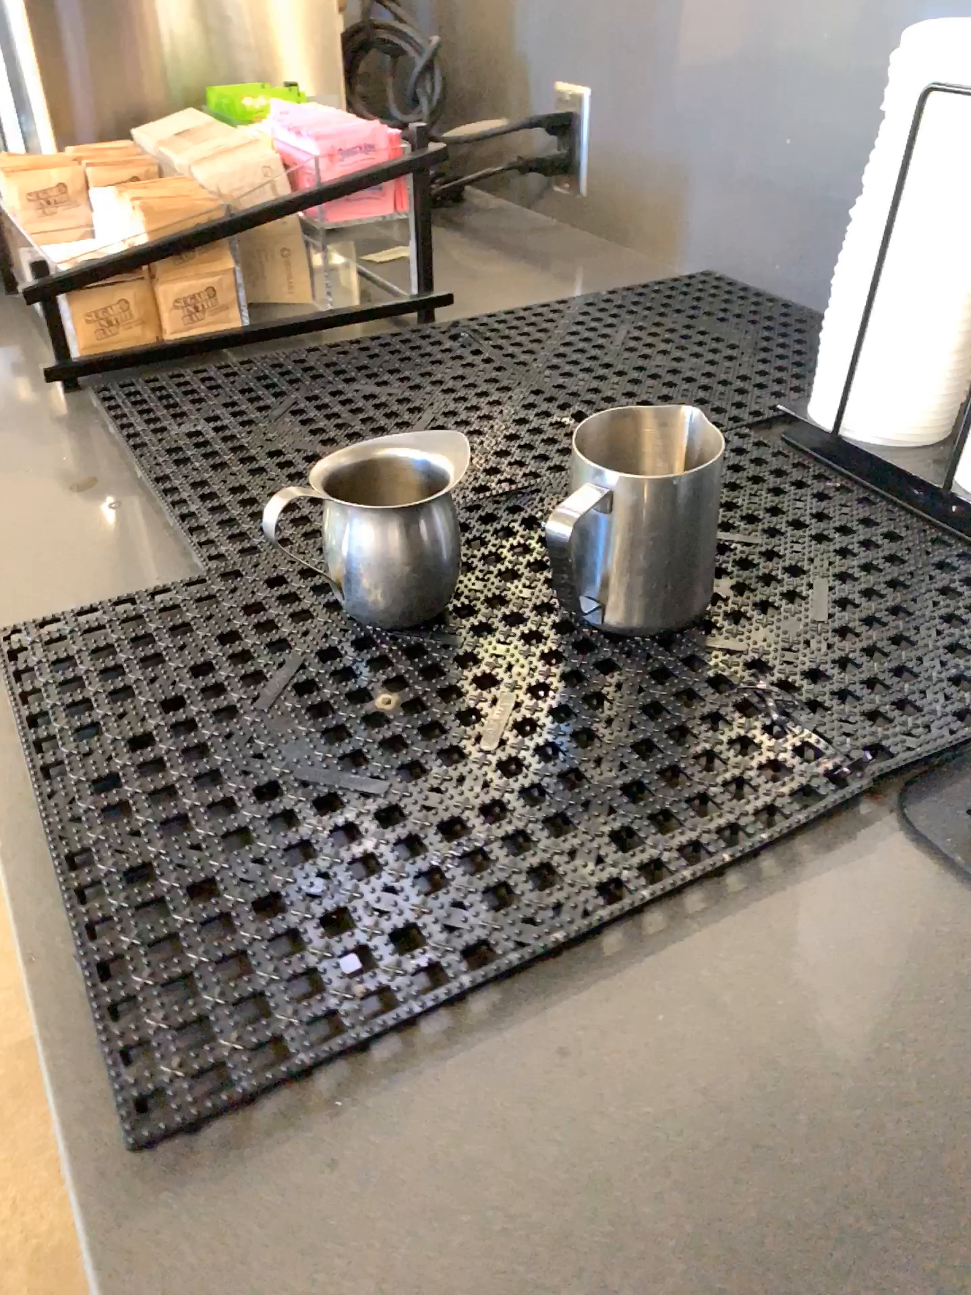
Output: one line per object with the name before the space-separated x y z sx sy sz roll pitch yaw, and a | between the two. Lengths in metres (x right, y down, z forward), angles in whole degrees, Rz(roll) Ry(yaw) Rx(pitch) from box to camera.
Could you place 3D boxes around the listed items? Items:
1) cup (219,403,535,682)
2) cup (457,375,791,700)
cup | -0.048 -0.055 0.476 0.120 0.070 0.080 -30 45 -34
cup | 0.059 -0.053 0.435 0.080 0.080 0.120 29 45 34
